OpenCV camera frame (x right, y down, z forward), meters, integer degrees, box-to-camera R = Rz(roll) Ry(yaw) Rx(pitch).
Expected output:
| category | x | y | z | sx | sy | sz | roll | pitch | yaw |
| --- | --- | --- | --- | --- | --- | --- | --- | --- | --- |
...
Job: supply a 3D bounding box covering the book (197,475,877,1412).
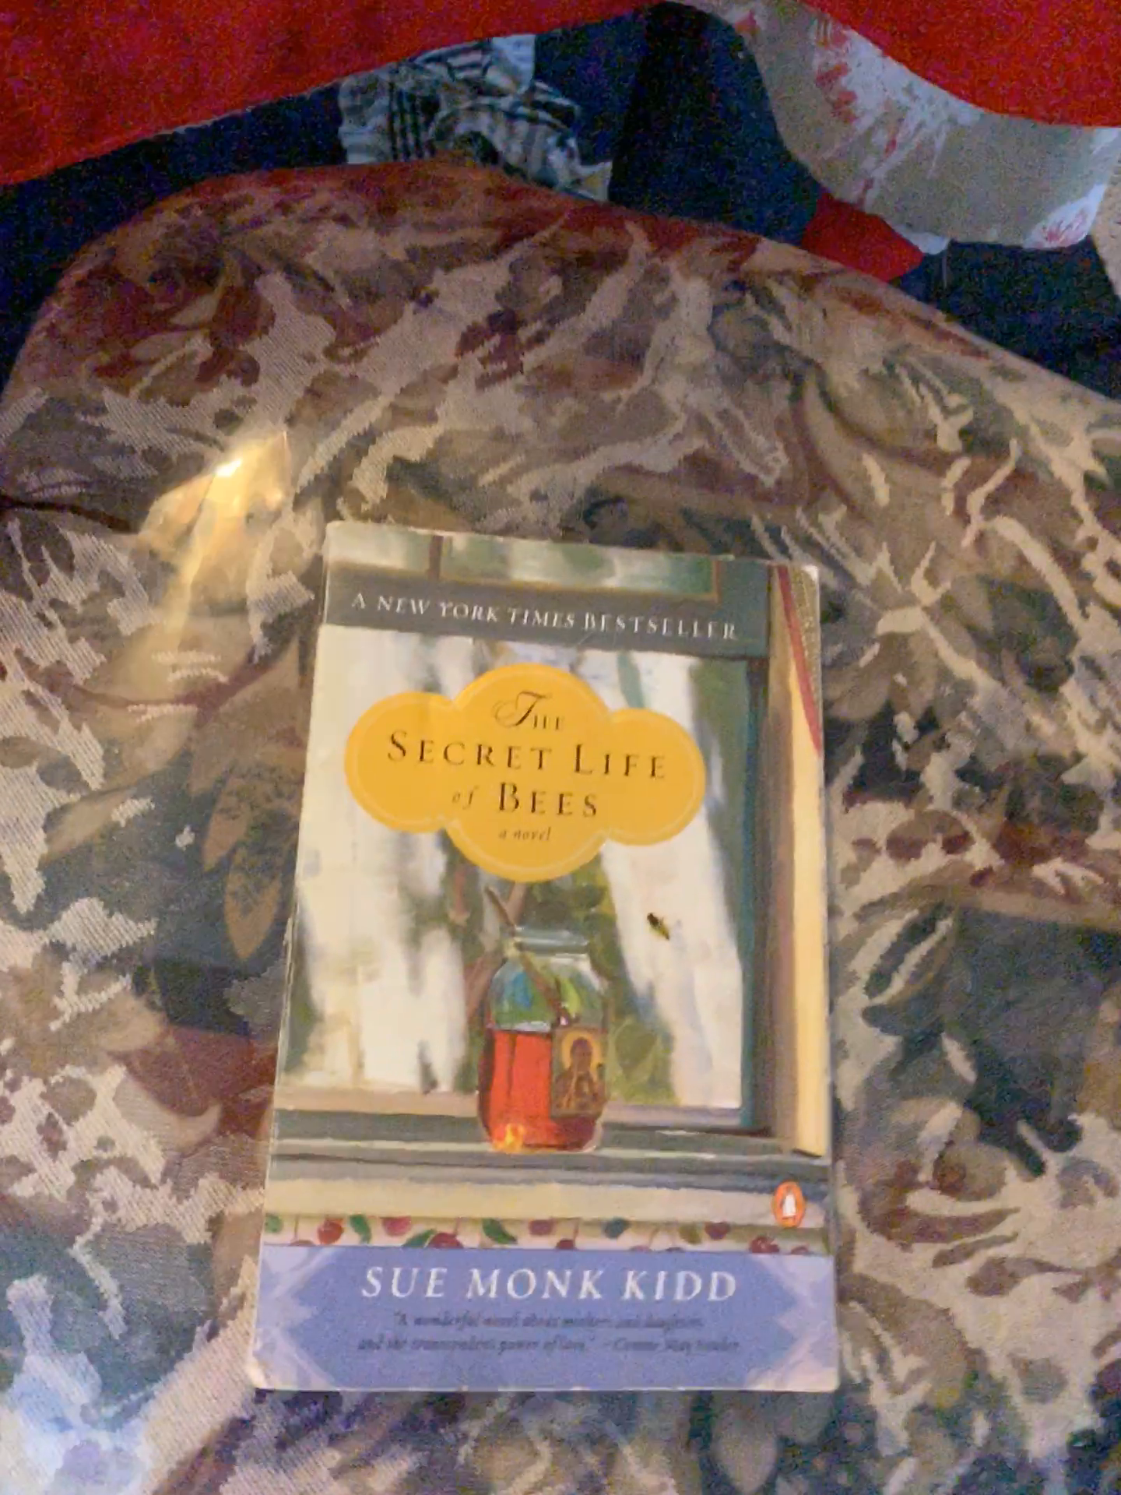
| category | x | y | z | sx | sy | sz | roll | pitch | yaw |
| --- | --- | --- | --- | --- | --- | --- | --- | --- | --- |
| book | -0.002 | 0.041 | 0.286 | 0.140 | 0.040 | 0.210 | 3 | 74 | -3 |
